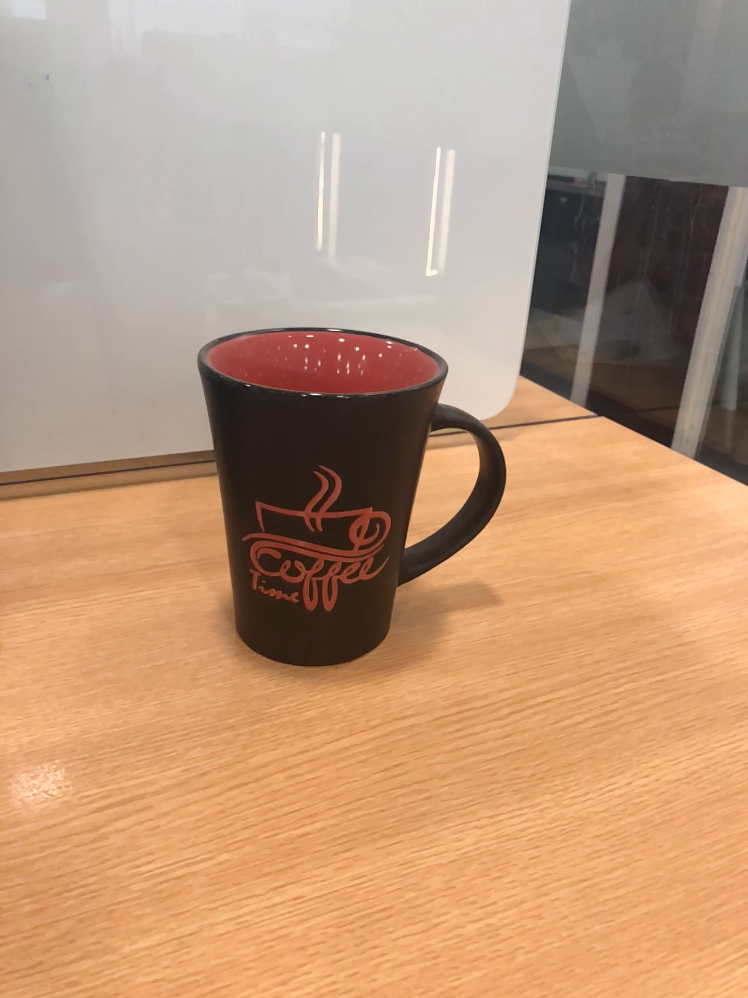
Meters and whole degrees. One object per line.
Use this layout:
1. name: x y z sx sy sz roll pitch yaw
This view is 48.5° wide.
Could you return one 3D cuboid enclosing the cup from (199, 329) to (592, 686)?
1. cup: -0.001 -0.004 0.314 0.120 0.100 0.090 -3 25 -14
